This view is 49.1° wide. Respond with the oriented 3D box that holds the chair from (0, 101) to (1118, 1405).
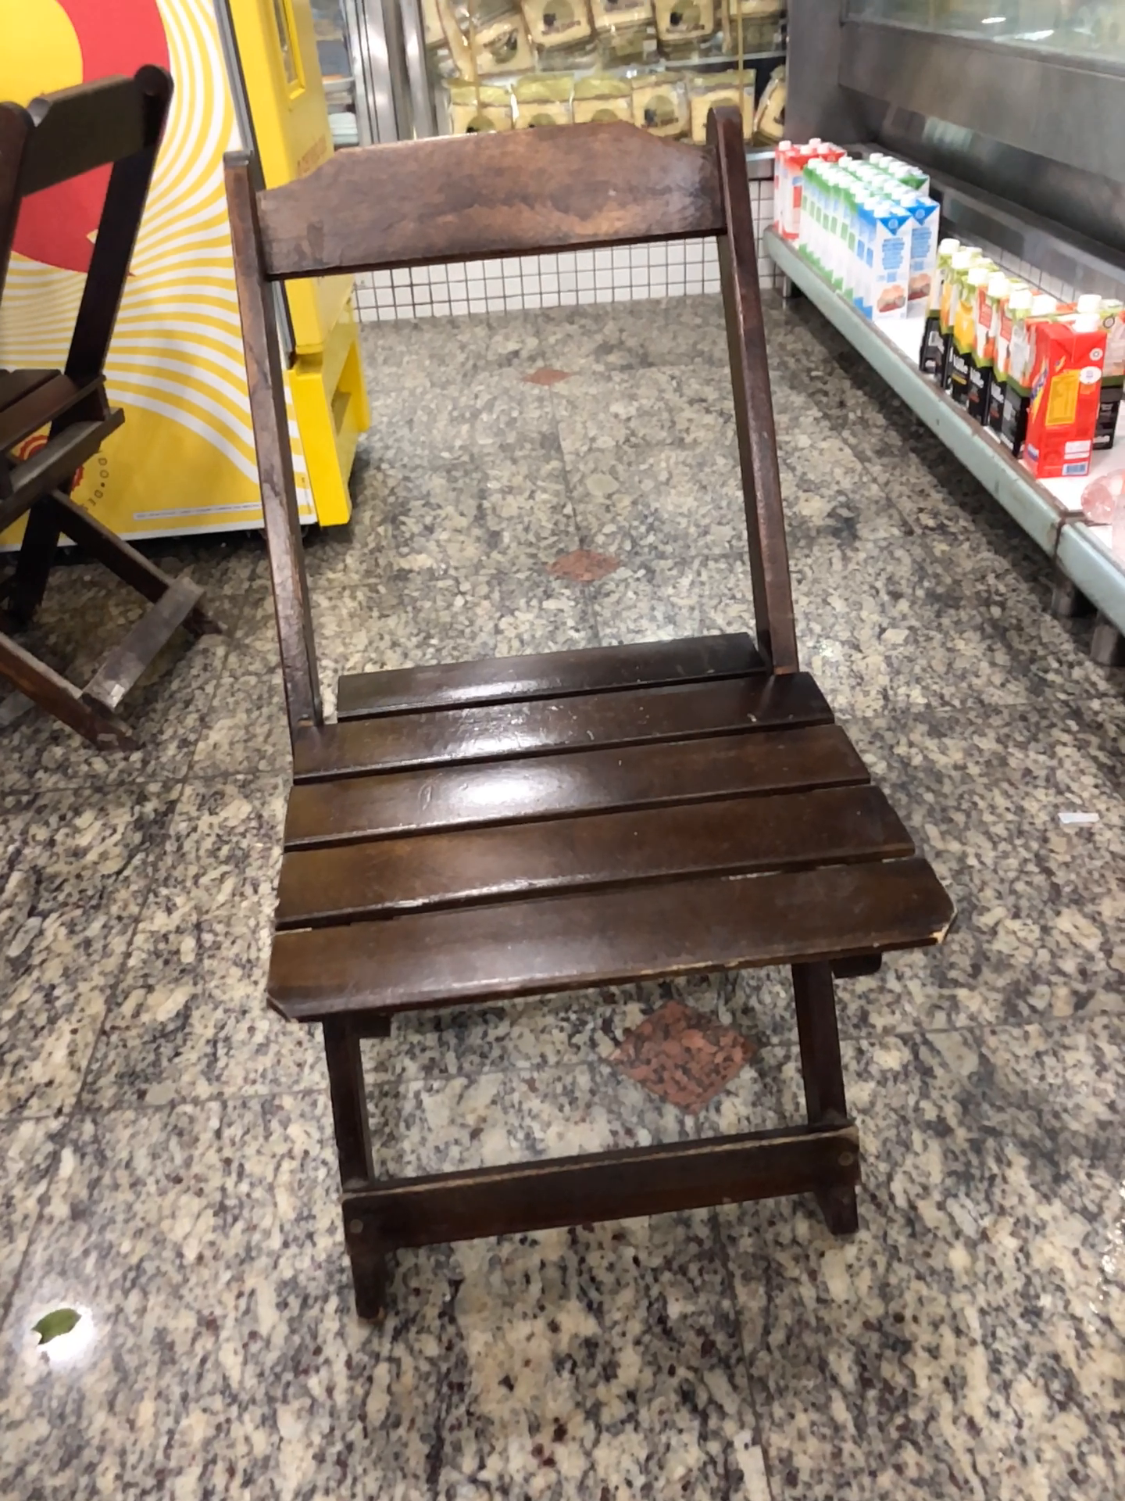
[{"bbox_3d":[-0.010,-0.031,0.891,0.440,0.705,0.554,-7,32,-4],"label":"chair"}]
